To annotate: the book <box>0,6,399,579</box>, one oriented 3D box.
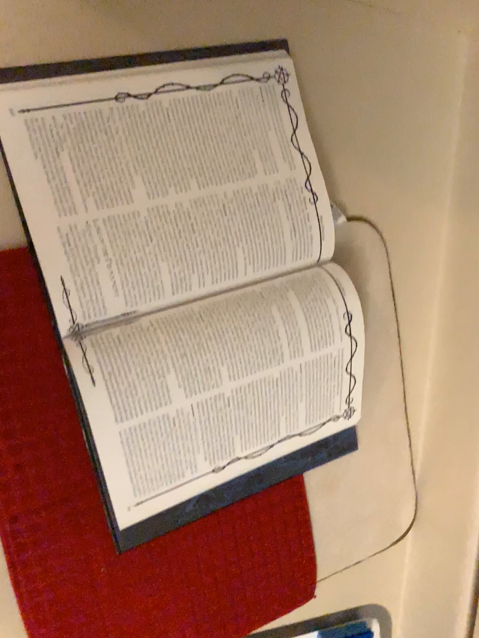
[{"bbox_3d":[-0.018,-0.025,0.502,0.290,0.060,0.450,-19,105,-20],"label":"book"}]
